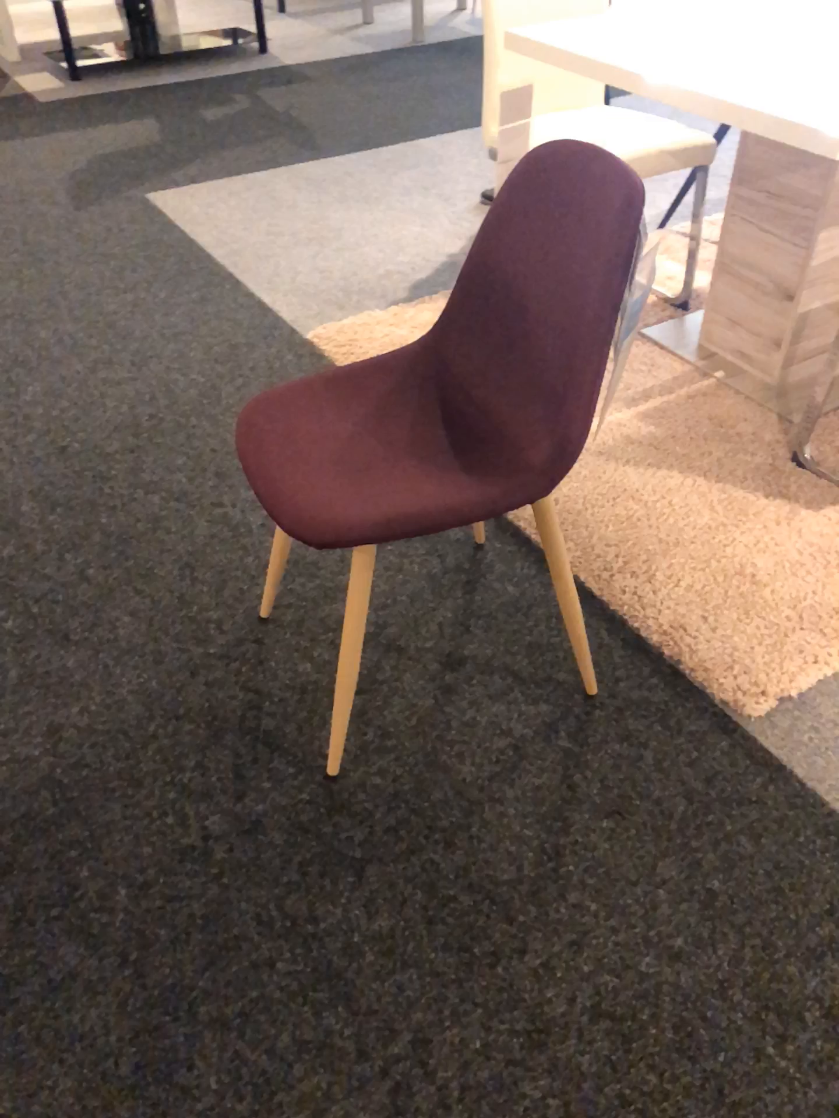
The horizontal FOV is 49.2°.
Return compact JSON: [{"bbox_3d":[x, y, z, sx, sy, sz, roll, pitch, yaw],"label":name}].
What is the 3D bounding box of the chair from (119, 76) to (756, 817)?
[{"bbox_3d":[-0.002,-0.161,1.287,0.572,0.795,0.472,-17,43,-19],"label":"chair"}]
